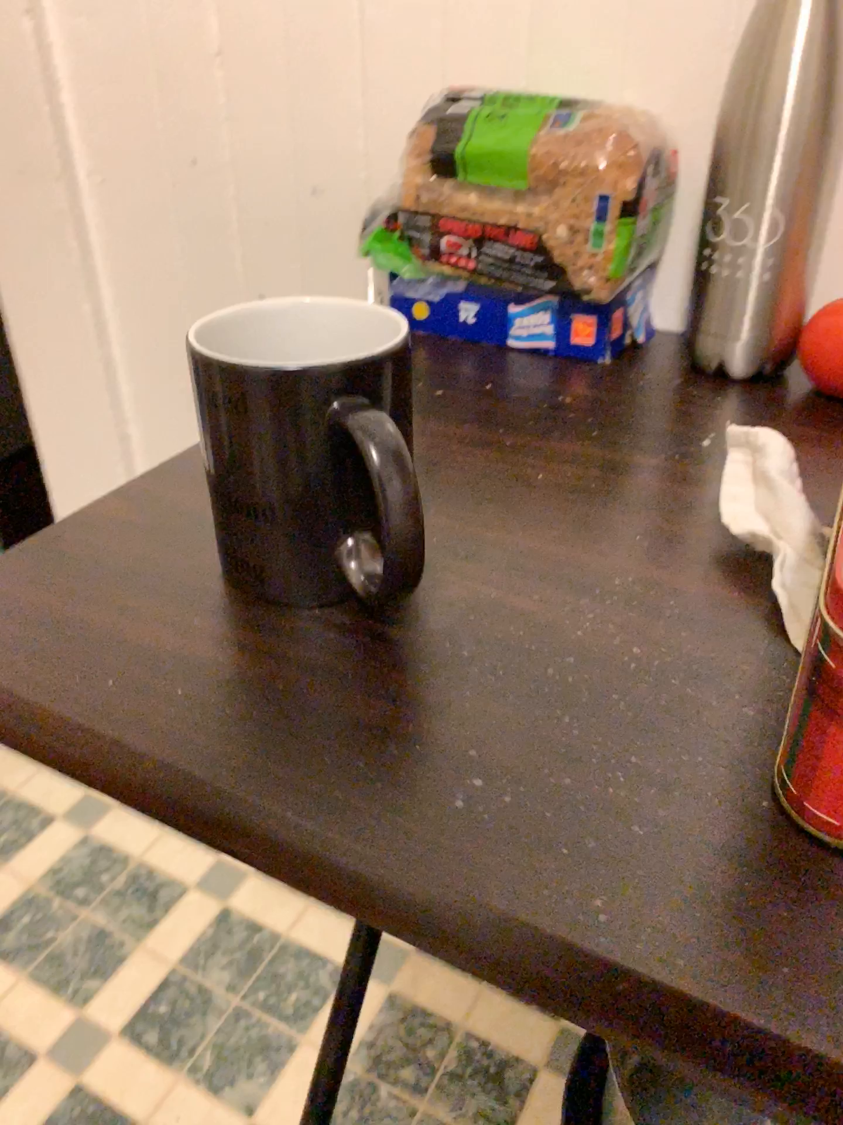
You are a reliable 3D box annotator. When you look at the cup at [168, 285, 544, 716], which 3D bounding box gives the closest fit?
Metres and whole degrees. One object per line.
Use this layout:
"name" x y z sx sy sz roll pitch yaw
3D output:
"cup" -0.029 -0.033 0.327 0.080 0.099 0.131 -17 36 -25
